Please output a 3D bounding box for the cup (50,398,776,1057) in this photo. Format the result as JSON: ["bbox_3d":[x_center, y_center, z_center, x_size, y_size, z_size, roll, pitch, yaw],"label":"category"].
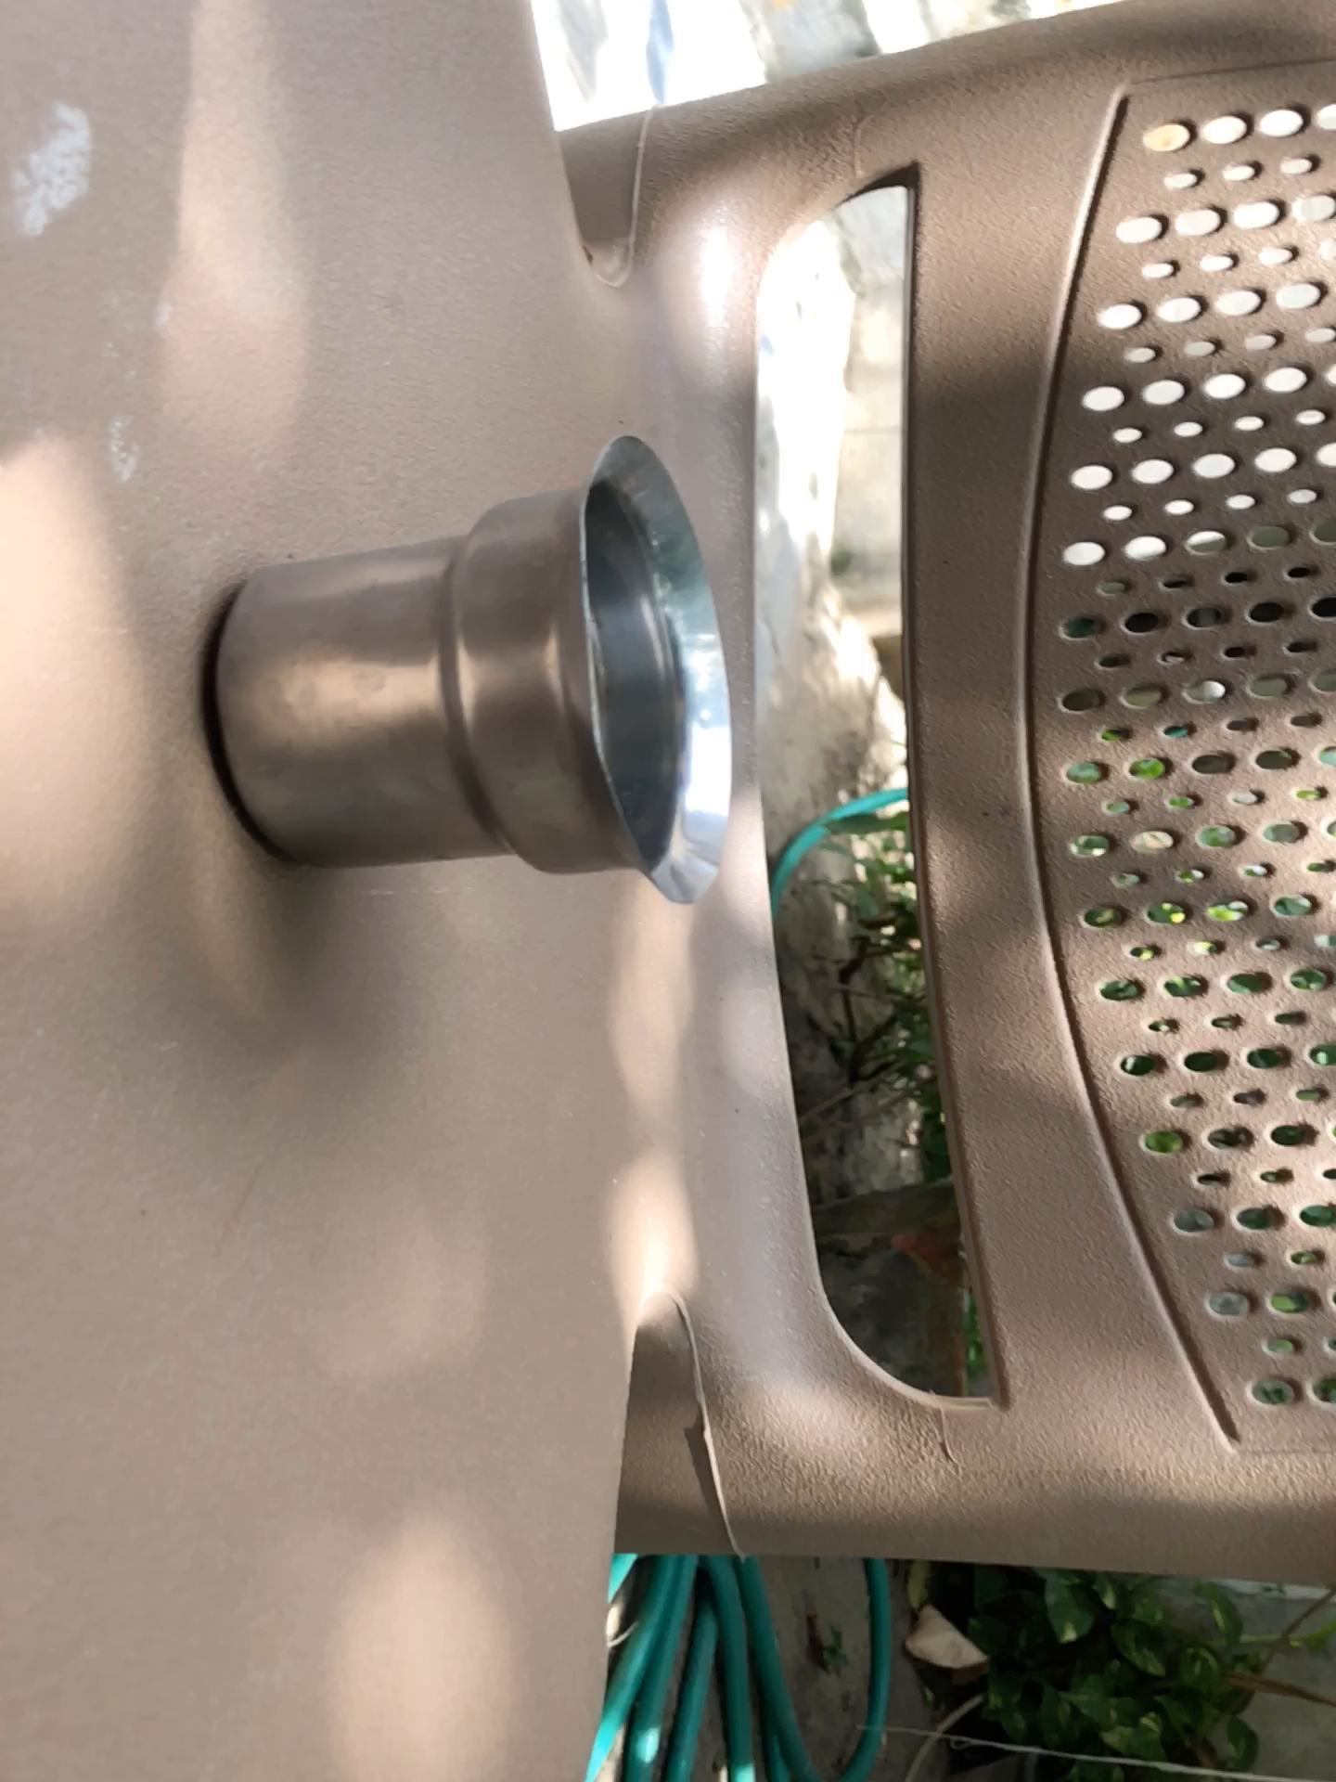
[{"bbox_3d":[-0.031,-0.023,0.224,0.070,0.070,0.060,-73,149,-44],"label":"cup"}]
